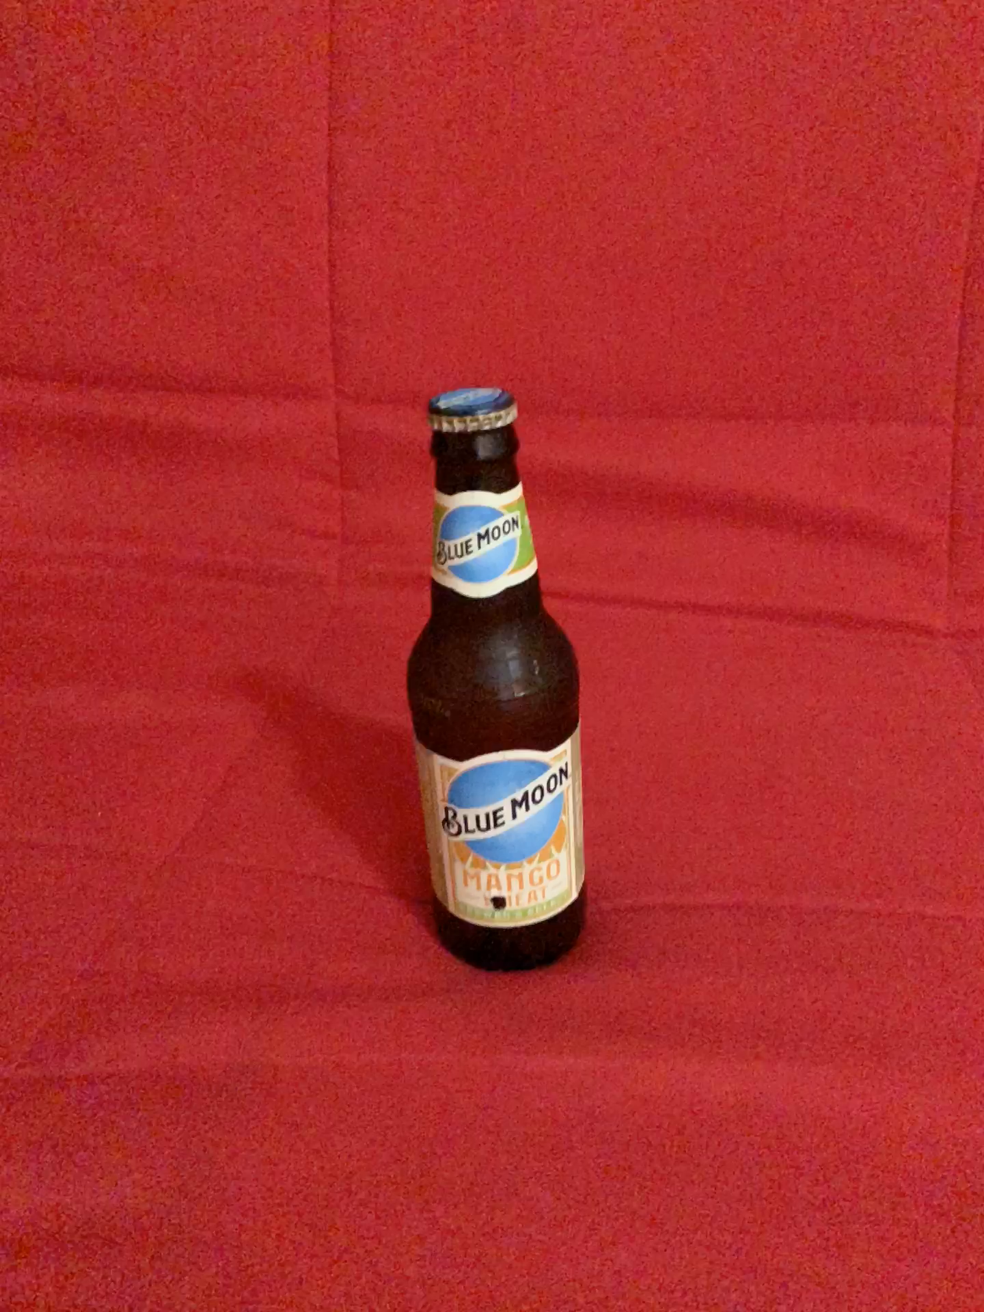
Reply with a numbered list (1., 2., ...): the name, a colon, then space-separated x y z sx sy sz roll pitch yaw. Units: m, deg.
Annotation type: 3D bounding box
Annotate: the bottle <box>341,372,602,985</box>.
1. bottle: 0.003 0.017 0.361 0.070 0.216 0.069 -3 32 2
